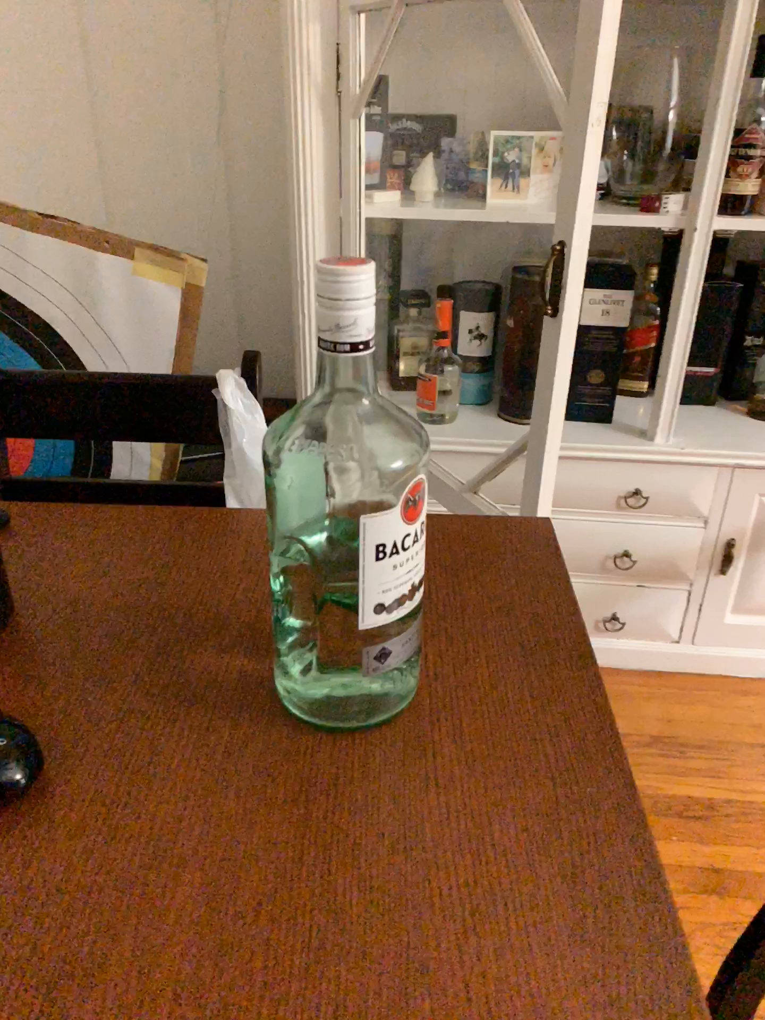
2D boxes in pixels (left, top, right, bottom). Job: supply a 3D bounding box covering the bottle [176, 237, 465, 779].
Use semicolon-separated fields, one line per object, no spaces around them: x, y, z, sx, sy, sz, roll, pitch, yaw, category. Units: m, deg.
-0.035;0.000;0.533;0.120;0.328;0.120;1;28;0;bottle
